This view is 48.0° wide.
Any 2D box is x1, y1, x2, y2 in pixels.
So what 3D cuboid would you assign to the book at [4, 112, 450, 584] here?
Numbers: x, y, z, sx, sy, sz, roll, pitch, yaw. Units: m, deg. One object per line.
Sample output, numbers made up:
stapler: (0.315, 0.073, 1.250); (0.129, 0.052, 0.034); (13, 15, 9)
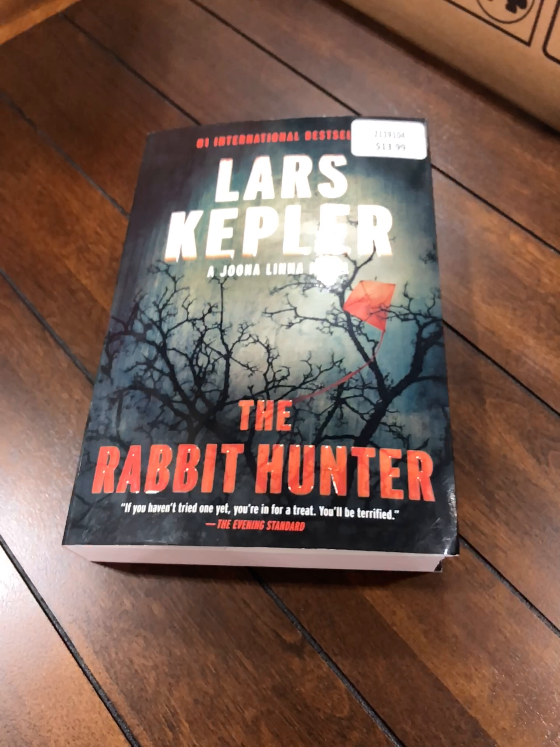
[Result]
book: (-0.014, -0.024, 0.294); (0.159, 0.046, 0.222); (1, 62, 5)
